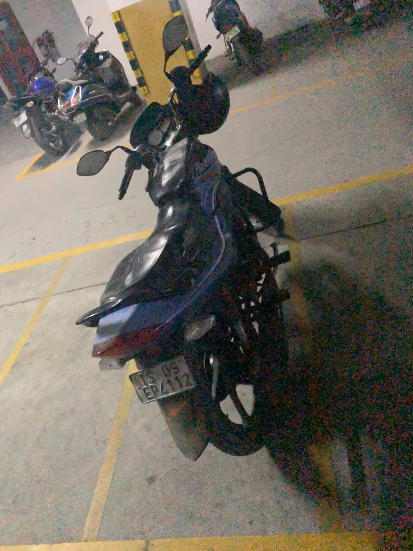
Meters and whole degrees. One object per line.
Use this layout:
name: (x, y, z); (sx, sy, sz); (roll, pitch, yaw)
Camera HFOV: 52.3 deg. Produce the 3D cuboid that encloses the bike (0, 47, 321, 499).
bike: (-0.204, -0.167, 1.851); (0.780, 1.107, 1.709); (-16, 34, 10)
